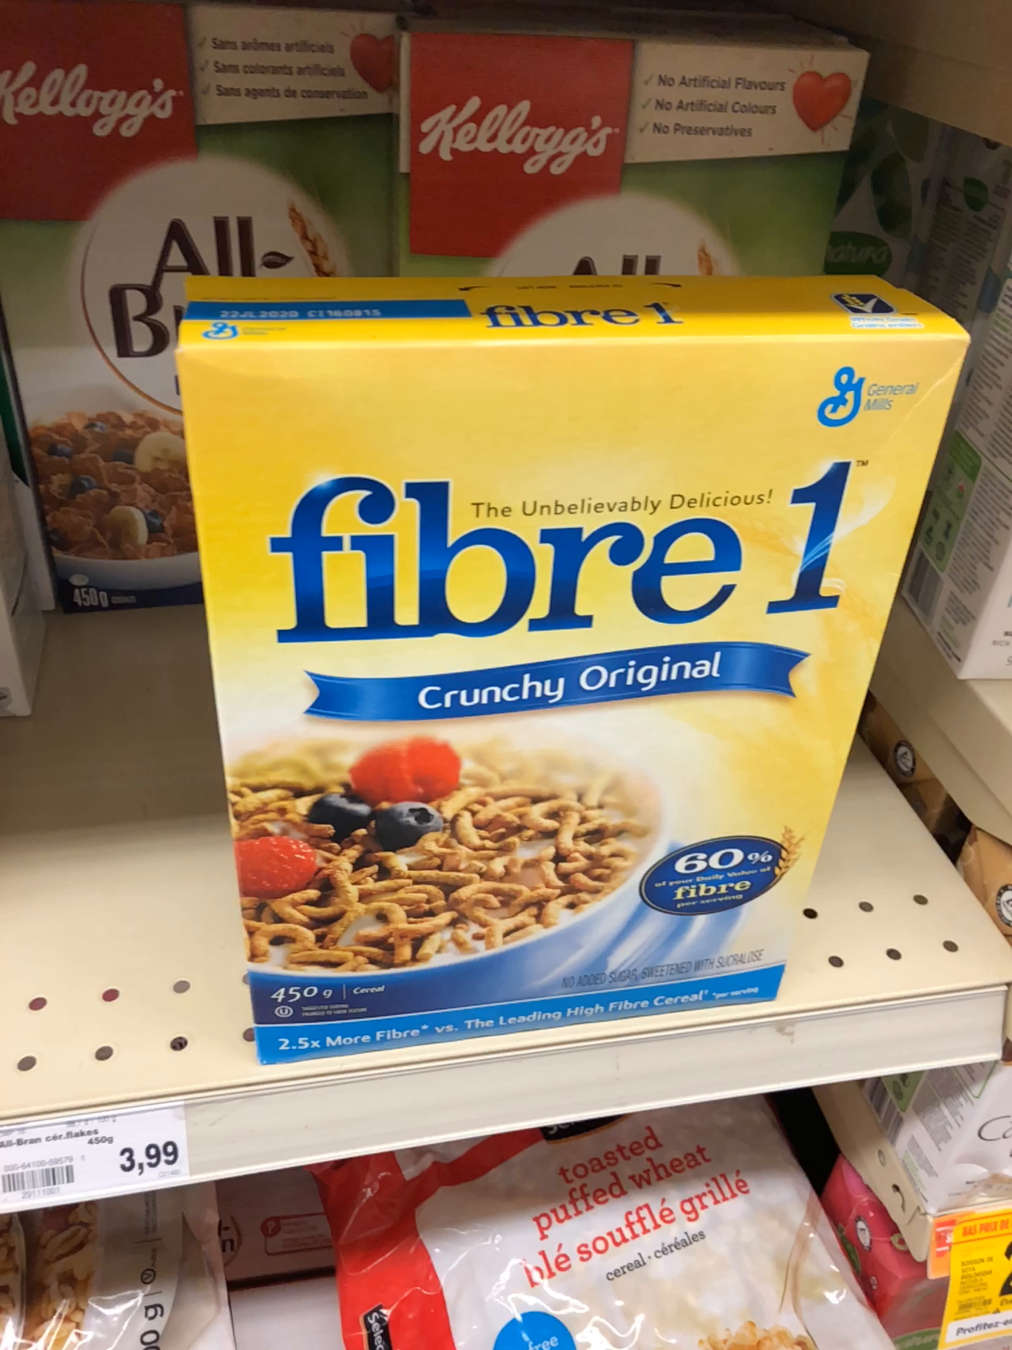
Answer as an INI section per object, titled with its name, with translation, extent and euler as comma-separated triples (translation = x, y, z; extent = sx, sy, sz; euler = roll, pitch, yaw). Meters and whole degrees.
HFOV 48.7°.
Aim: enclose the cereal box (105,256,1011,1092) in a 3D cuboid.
[cereal box]
translation = 0.011, 0.010, 0.337
extent = 0.210, 0.248, 0.060
euler = -4, 37, -11
